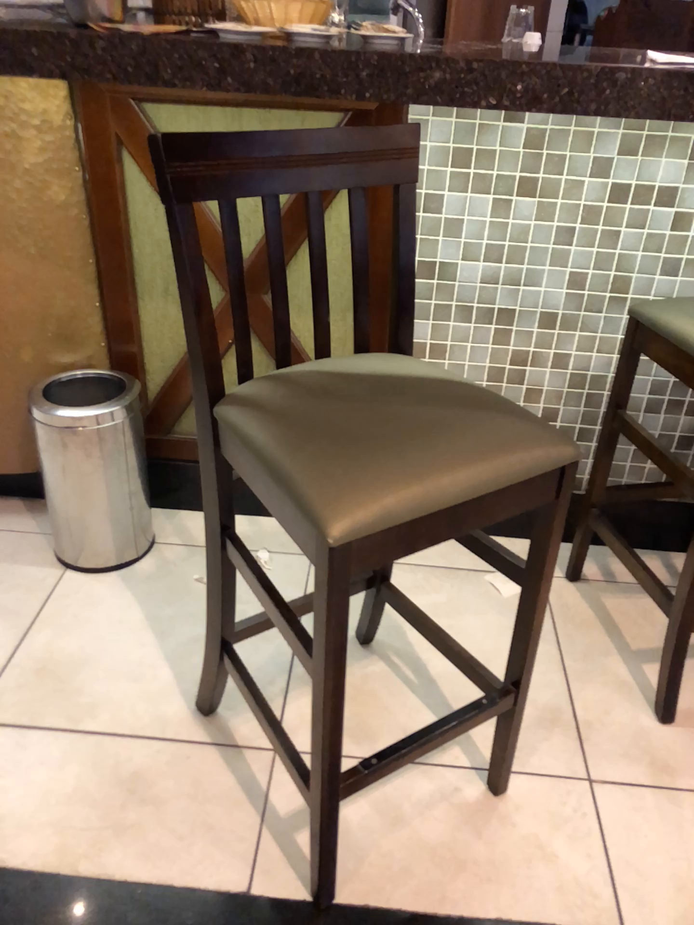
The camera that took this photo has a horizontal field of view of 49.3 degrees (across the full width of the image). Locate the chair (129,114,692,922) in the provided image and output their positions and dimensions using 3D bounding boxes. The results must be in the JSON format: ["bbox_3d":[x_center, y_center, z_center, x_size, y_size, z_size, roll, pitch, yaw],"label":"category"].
[{"bbox_3d":[0.032,0.071,1.153,0.461,1.032,0.492,-17,36,-30],"label":"chair"}]
